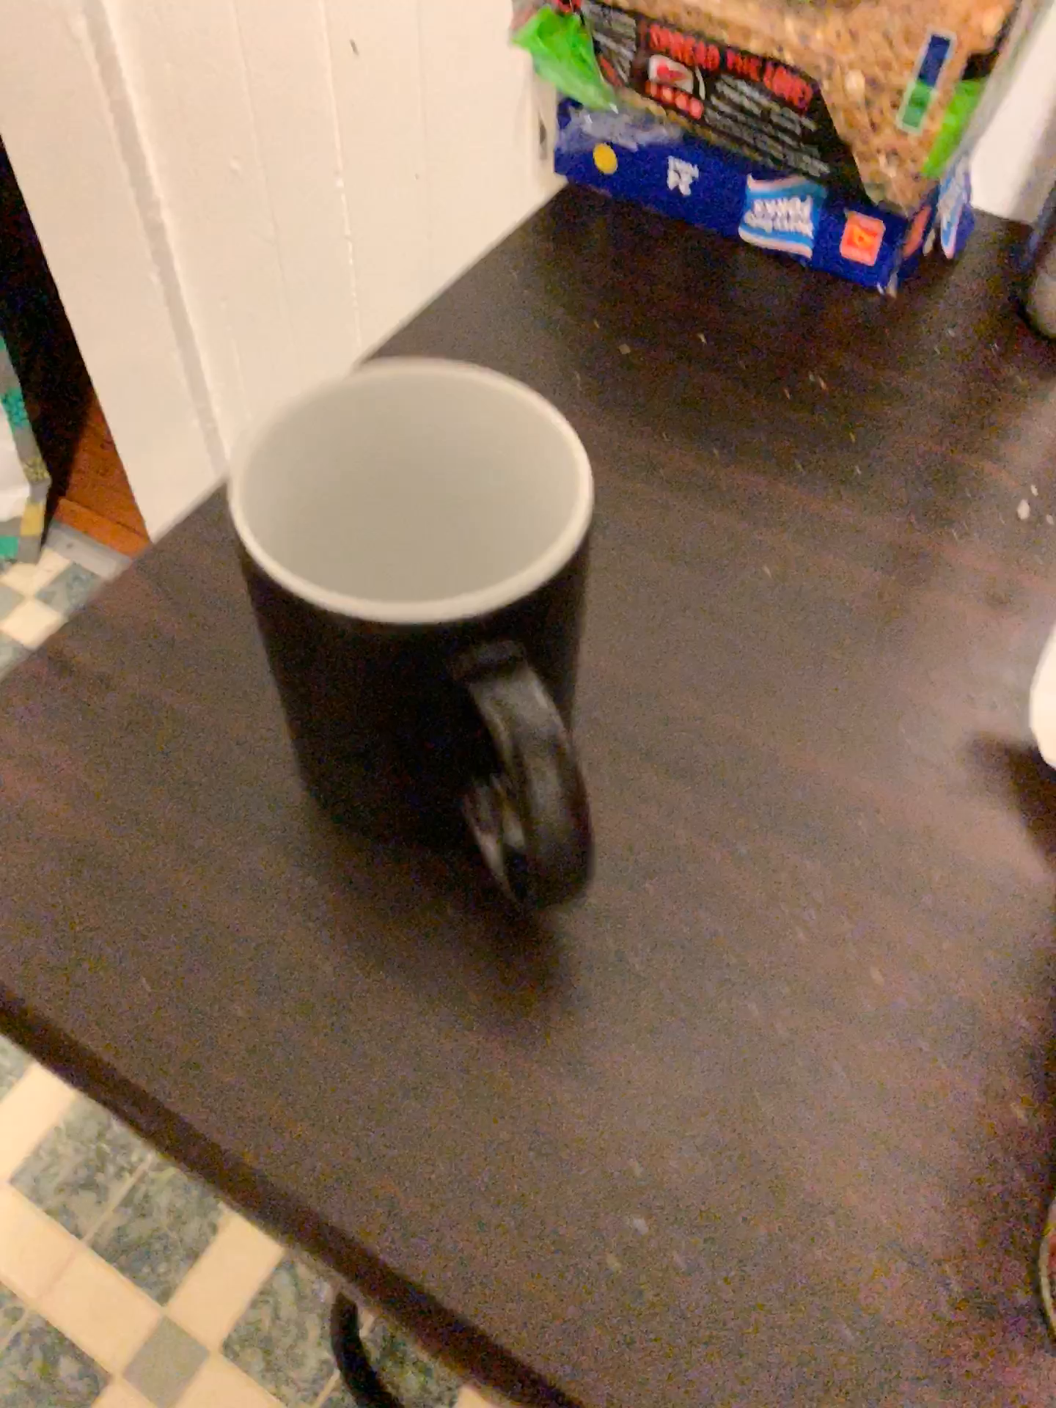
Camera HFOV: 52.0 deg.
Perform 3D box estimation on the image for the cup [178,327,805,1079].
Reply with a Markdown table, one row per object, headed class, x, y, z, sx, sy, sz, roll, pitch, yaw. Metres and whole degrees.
| class | x | y | z | sx | sy | sz | roll | pitch | yaw |
| --- | --- | --- | --- | --- | --- | --- | --- | --- | --- |
| cup | -0.015 | -0.001 | 0.262 | 0.080 | 0.100 | 0.130 | -22 | 58 | -16 |
